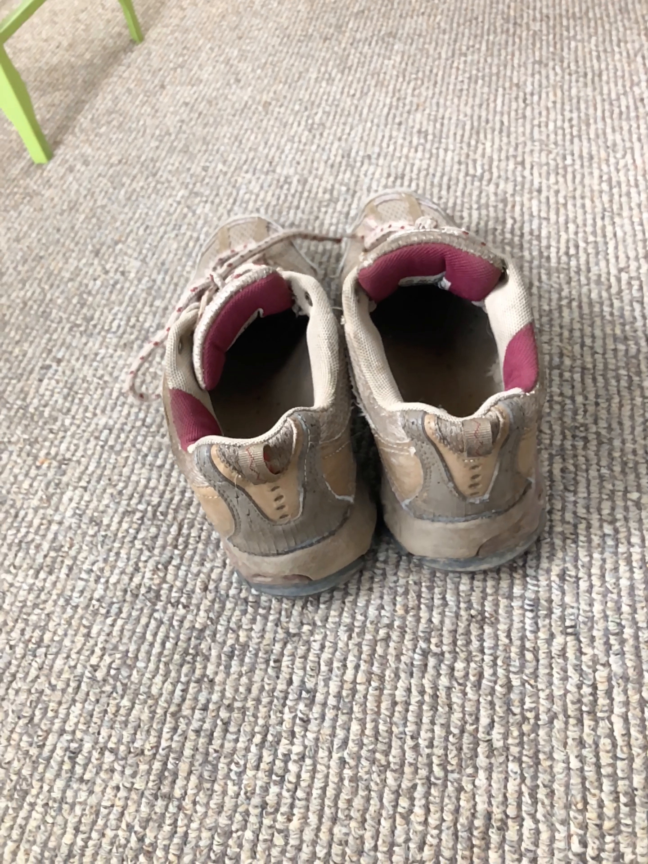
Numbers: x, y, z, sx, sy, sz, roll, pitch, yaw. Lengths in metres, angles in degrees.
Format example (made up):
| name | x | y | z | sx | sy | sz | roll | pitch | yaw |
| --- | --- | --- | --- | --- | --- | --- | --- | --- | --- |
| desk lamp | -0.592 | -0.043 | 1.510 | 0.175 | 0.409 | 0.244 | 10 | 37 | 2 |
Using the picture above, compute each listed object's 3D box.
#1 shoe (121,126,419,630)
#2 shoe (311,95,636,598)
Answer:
| name | x | y | z | sx | sy | sz | roll | pitch | yaw |
| --- | --- | --- | --- | --- | --- | --- | --- | --- | --- |
| shoe | -0.040 | -0.047 | 0.423 | 0.110 | 0.118 | 0.272 | -15 | 50 | -2 |
| shoe | 0.066 | -0.063 | 0.421 | 0.112 | 0.123 | 0.273 | -8 | 50 | 3 |
